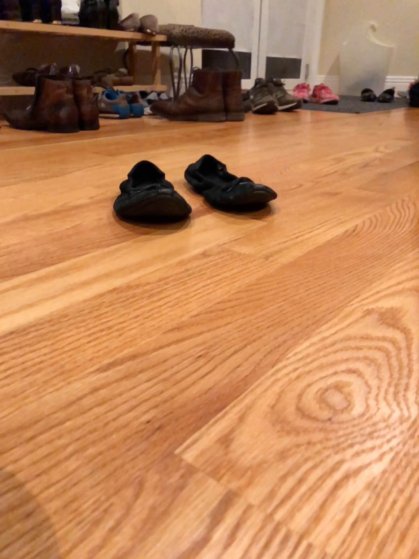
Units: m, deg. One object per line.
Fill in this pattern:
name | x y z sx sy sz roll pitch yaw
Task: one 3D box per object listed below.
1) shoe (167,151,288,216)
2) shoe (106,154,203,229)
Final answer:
shoe | 0.017 -0.152 0.690 0.093 0.046 0.221 -9 26 -22
shoe | -0.084 -0.130 0.639 0.100 0.050 0.221 -5 25 -14
